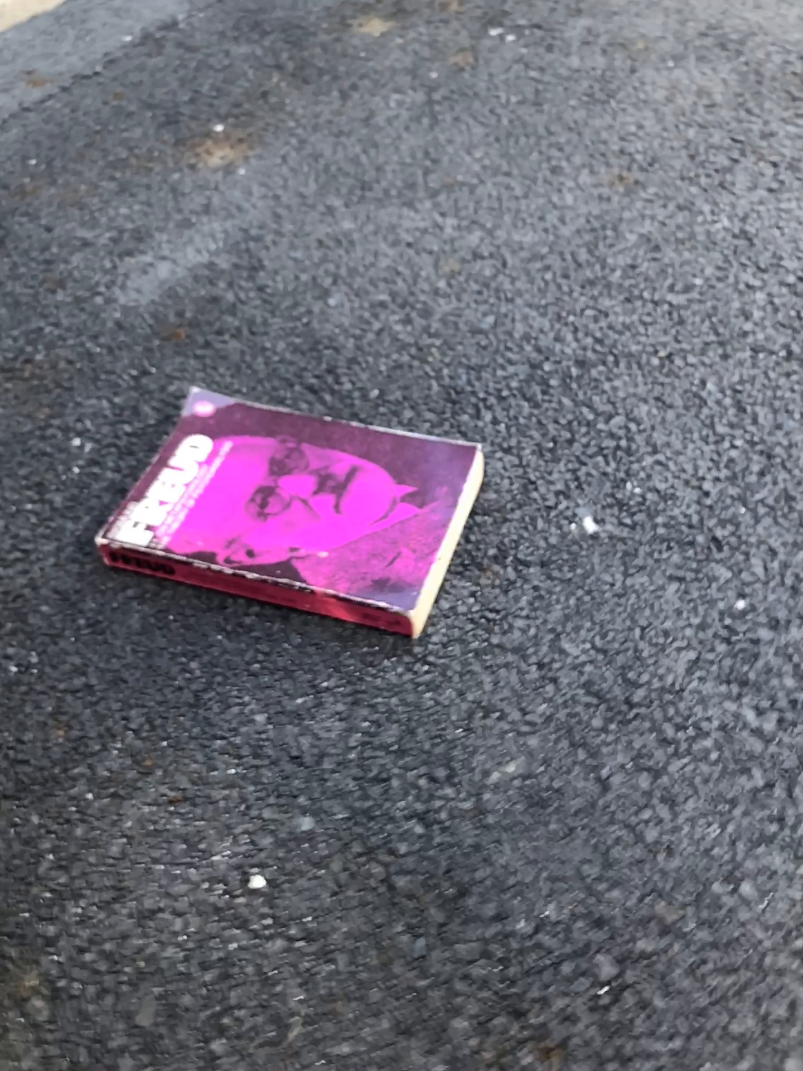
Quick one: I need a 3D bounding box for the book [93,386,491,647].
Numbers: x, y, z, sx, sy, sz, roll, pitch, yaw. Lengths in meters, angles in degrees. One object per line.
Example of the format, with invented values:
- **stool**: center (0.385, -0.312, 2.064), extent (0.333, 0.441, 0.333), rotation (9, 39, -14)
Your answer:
- **book**: center (-0.060, -0.019, 0.528), extent (0.194, 0.031, 0.131), rotation (13, 52, 16)
